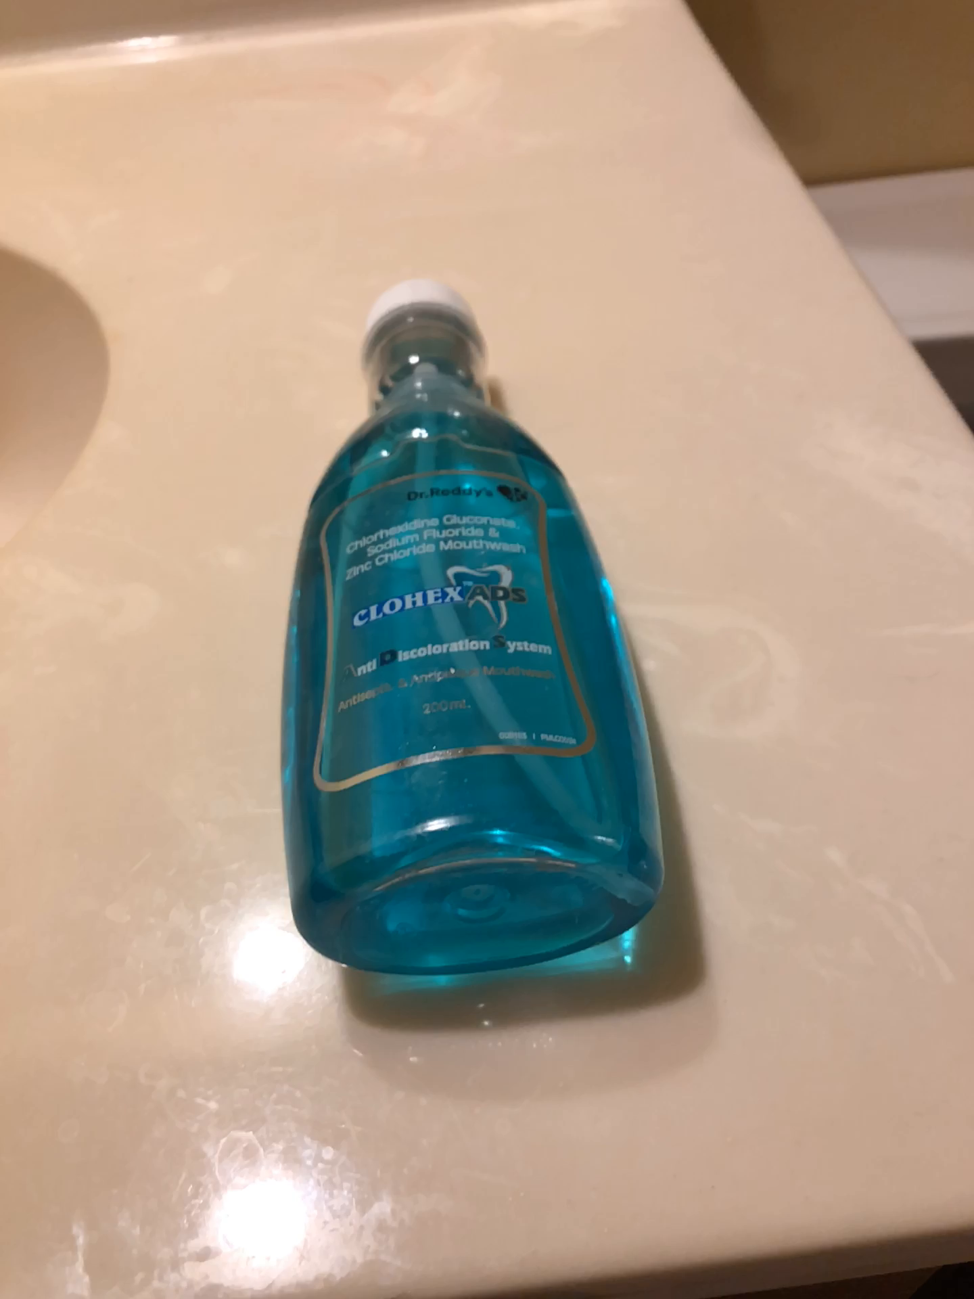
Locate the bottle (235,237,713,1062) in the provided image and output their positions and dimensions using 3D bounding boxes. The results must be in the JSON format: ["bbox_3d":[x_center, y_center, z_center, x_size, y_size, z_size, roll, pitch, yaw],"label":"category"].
[{"bbox_3d":[-0.010,-0.022,0.247,0.070,0.040,0.210,-7,46,-1],"label":"bottle"}]
